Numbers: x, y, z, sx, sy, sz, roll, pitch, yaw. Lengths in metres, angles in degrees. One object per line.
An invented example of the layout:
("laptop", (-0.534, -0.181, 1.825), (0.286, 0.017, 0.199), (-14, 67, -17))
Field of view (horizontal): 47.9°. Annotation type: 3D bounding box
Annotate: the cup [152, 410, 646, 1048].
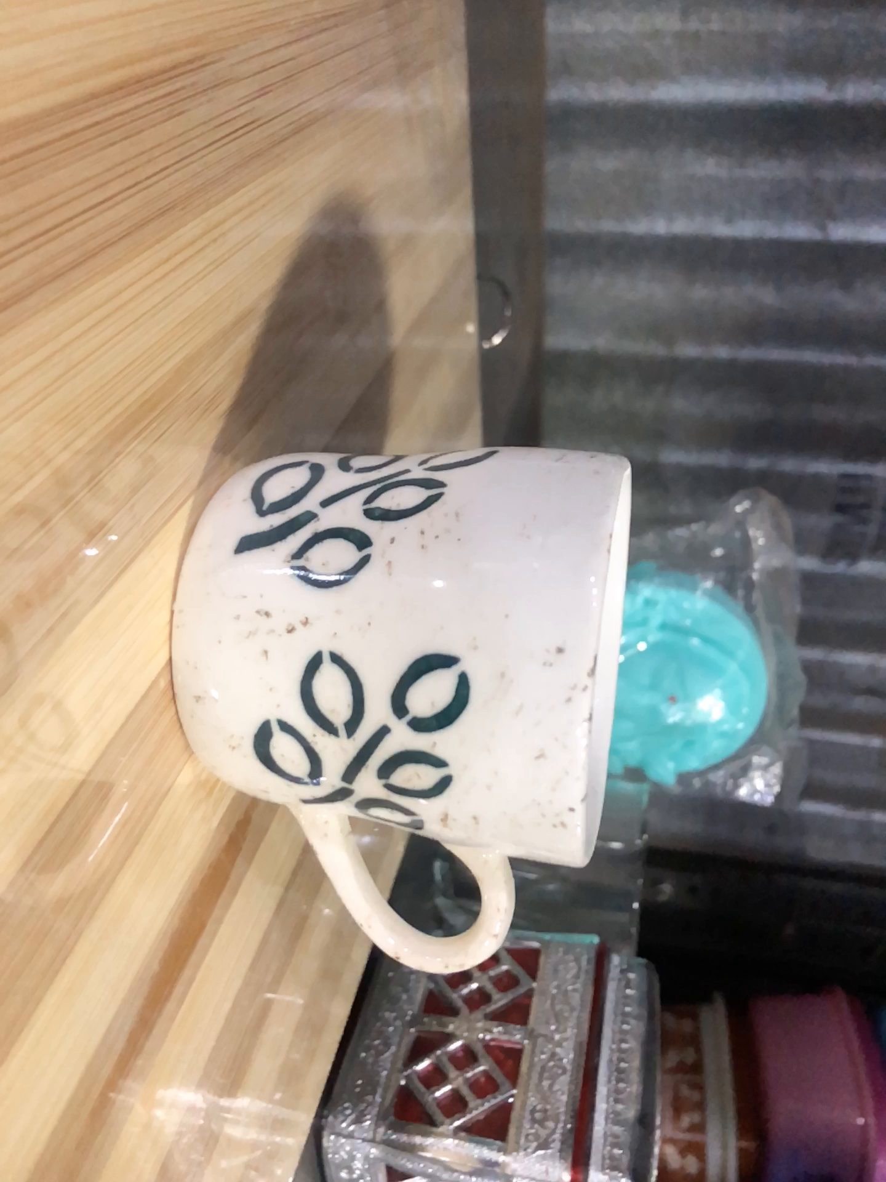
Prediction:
("cup", (-0.002, 0.015, 0.186), (0.080, 0.070, 0.090), (-38, 132, -75))
